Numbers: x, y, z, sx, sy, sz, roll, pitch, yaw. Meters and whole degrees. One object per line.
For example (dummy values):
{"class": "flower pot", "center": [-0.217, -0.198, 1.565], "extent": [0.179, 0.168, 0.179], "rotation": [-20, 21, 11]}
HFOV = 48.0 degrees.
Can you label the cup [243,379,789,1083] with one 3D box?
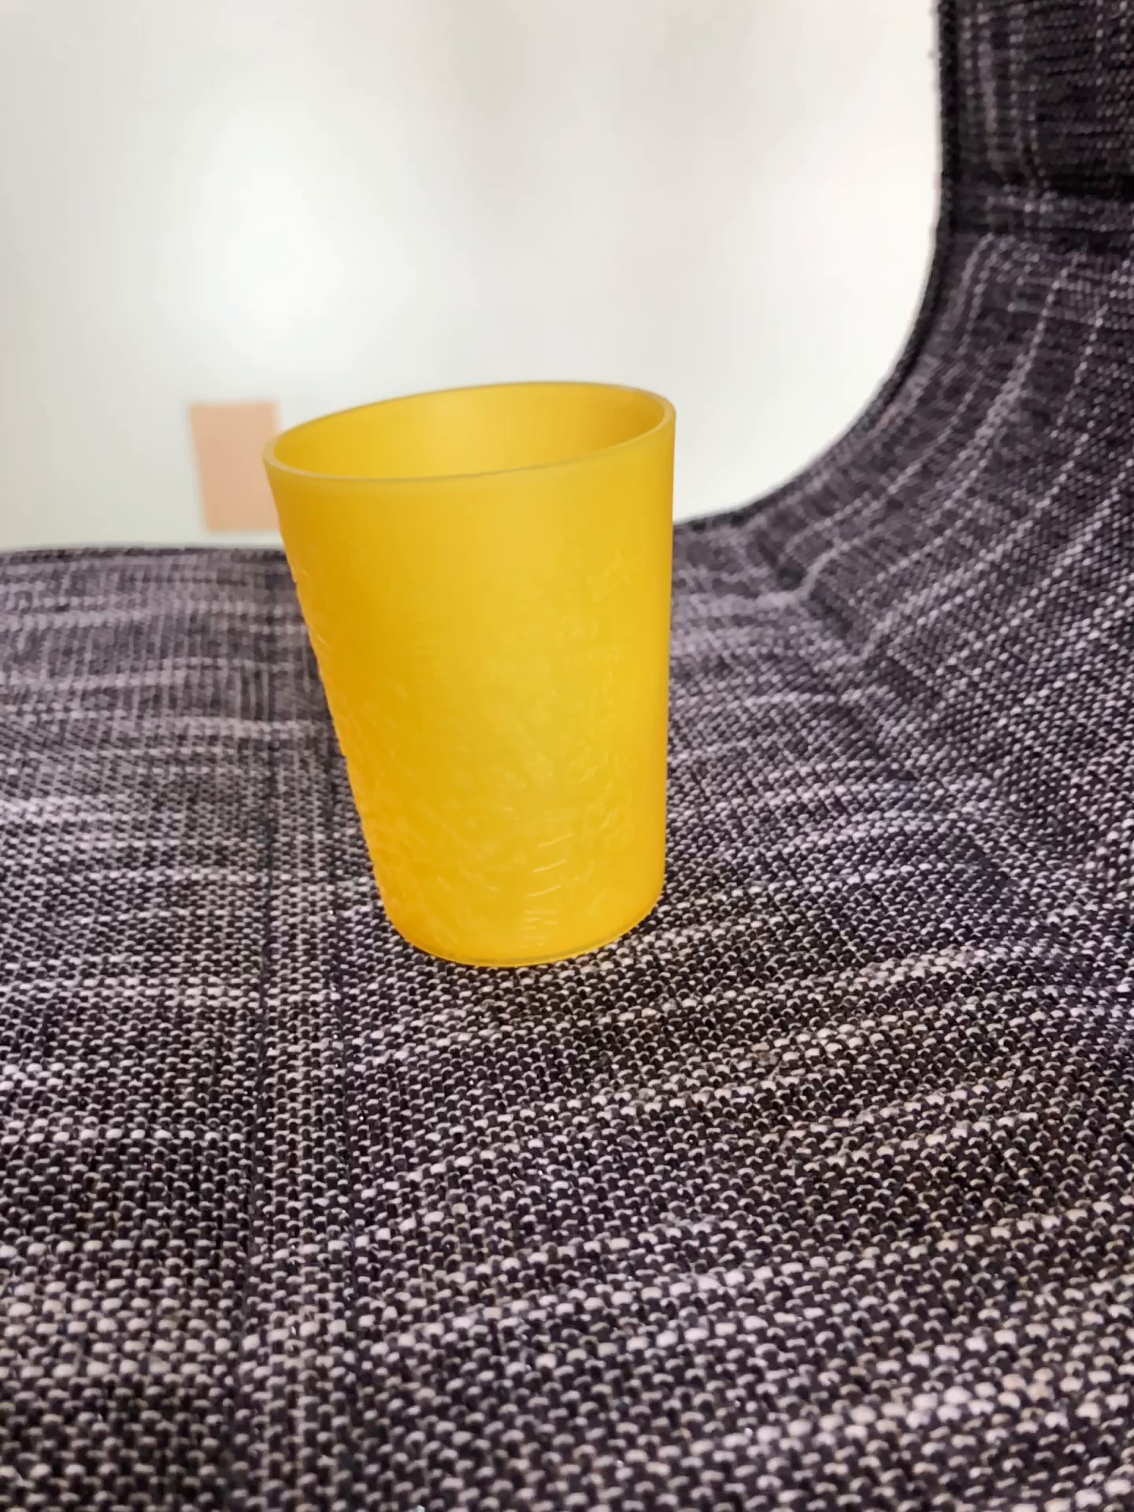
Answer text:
{"class": "cup", "center": [-0.008, -0.008, 0.196], "extent": [0.060, 0.080, 0.060], "rotation": [-5, 27, 3]}
